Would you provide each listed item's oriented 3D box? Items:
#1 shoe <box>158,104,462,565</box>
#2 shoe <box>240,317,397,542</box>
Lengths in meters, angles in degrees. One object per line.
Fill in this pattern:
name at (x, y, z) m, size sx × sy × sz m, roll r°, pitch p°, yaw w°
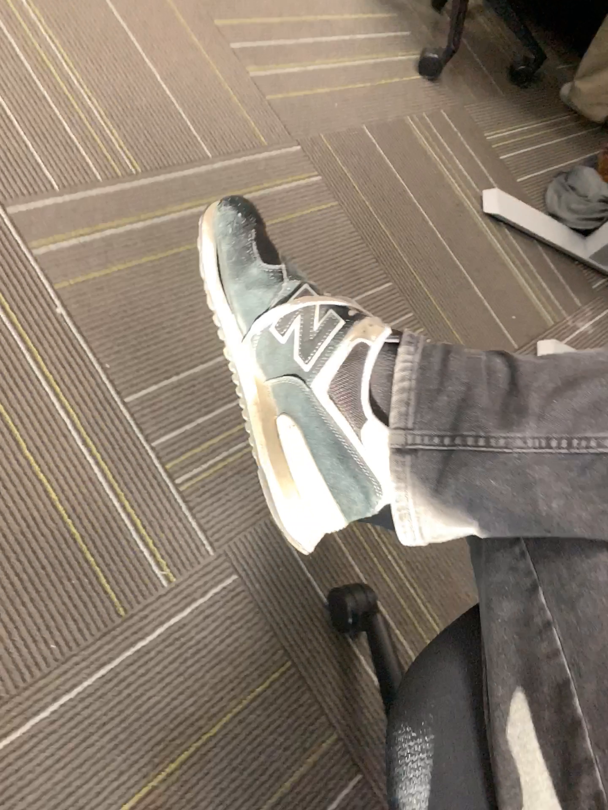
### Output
shoe at (0.000, -0.049, 0.475) m, size 0.133 × 0.115 × 0.304 m, roll -16°, pitch 73°, yaw 3°
shoe at (0.013, 0.033, 0.943) m, size 0.115 × 0.133 × 0.304 m, roll -5°, pitch 70°, yaw -31°
